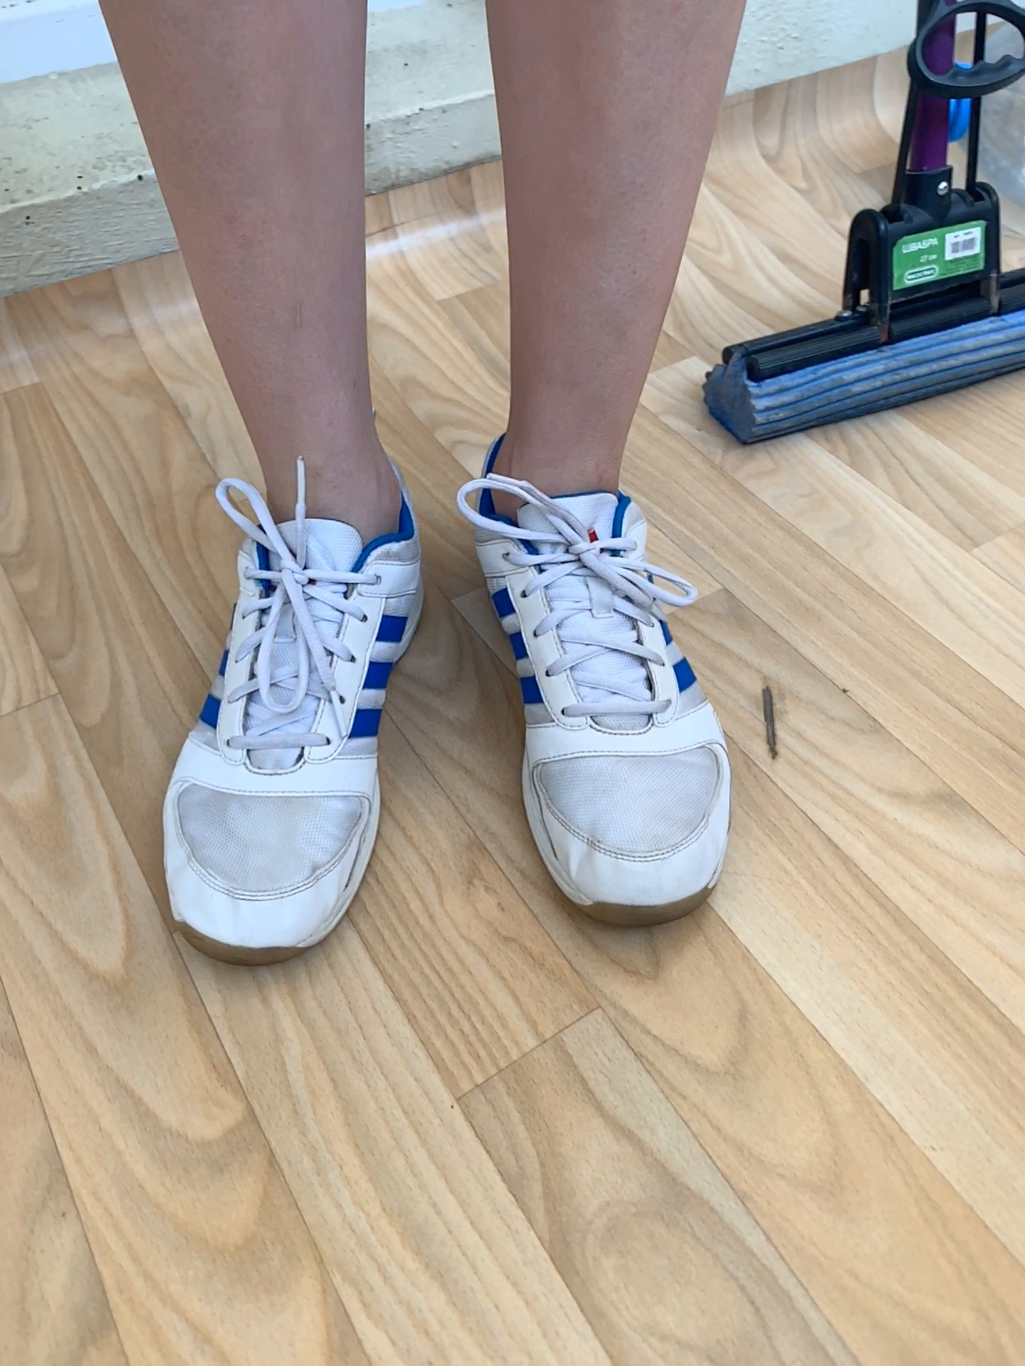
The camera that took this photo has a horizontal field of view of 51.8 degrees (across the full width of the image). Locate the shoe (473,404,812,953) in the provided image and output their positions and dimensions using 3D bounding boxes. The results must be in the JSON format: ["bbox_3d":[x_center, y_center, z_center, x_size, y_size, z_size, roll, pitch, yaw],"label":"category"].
[{"bbox_3d":[0.044,-0.018,0.497,0.100,0.090,0.261,-5,47,-4],"label":"shoe"}]

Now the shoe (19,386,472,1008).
[{"bbox_3d":[-0.095,-0.008,0.480,0.100,0.120,0.261,7,47,7],"label":"shoe"}]
